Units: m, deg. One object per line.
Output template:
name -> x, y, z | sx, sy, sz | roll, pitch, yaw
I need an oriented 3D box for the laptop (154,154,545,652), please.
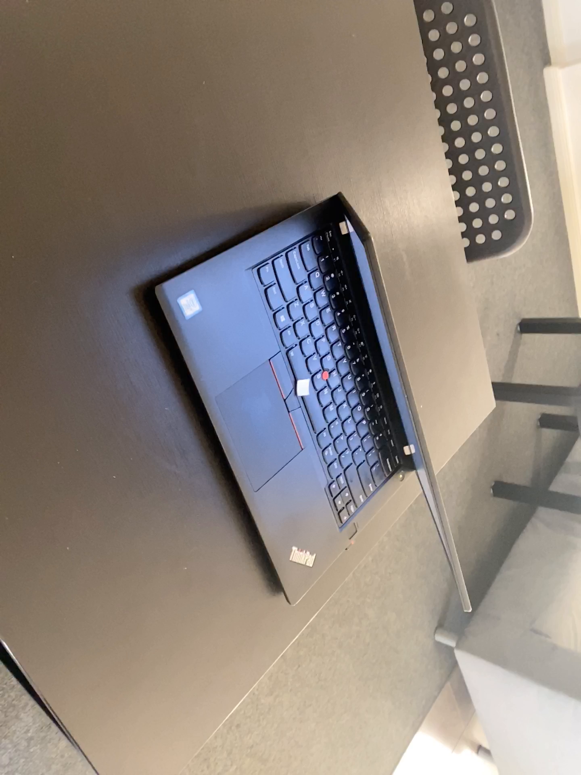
laptop -> 0.073, 0.007, 0.486 | 0.216, 0.138, 0.300 | -39, 120, -35
